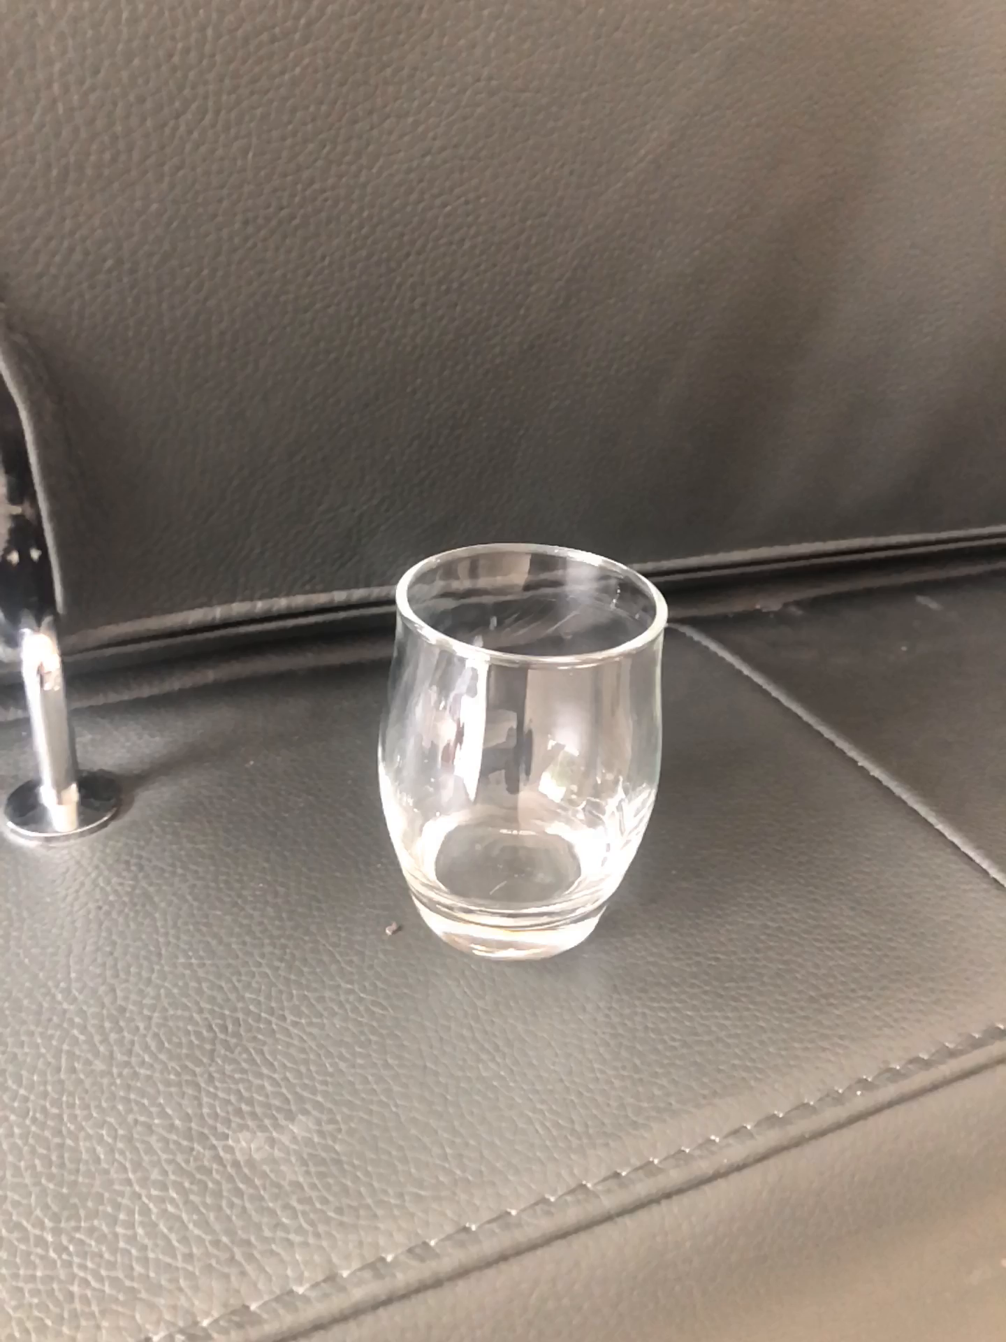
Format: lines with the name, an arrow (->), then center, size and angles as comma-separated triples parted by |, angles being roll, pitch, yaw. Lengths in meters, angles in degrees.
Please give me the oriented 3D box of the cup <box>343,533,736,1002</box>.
cup -> 0.002, 0.021, 0.298 | 0.080, 0.089, 0.080 | 3, 28, -2
